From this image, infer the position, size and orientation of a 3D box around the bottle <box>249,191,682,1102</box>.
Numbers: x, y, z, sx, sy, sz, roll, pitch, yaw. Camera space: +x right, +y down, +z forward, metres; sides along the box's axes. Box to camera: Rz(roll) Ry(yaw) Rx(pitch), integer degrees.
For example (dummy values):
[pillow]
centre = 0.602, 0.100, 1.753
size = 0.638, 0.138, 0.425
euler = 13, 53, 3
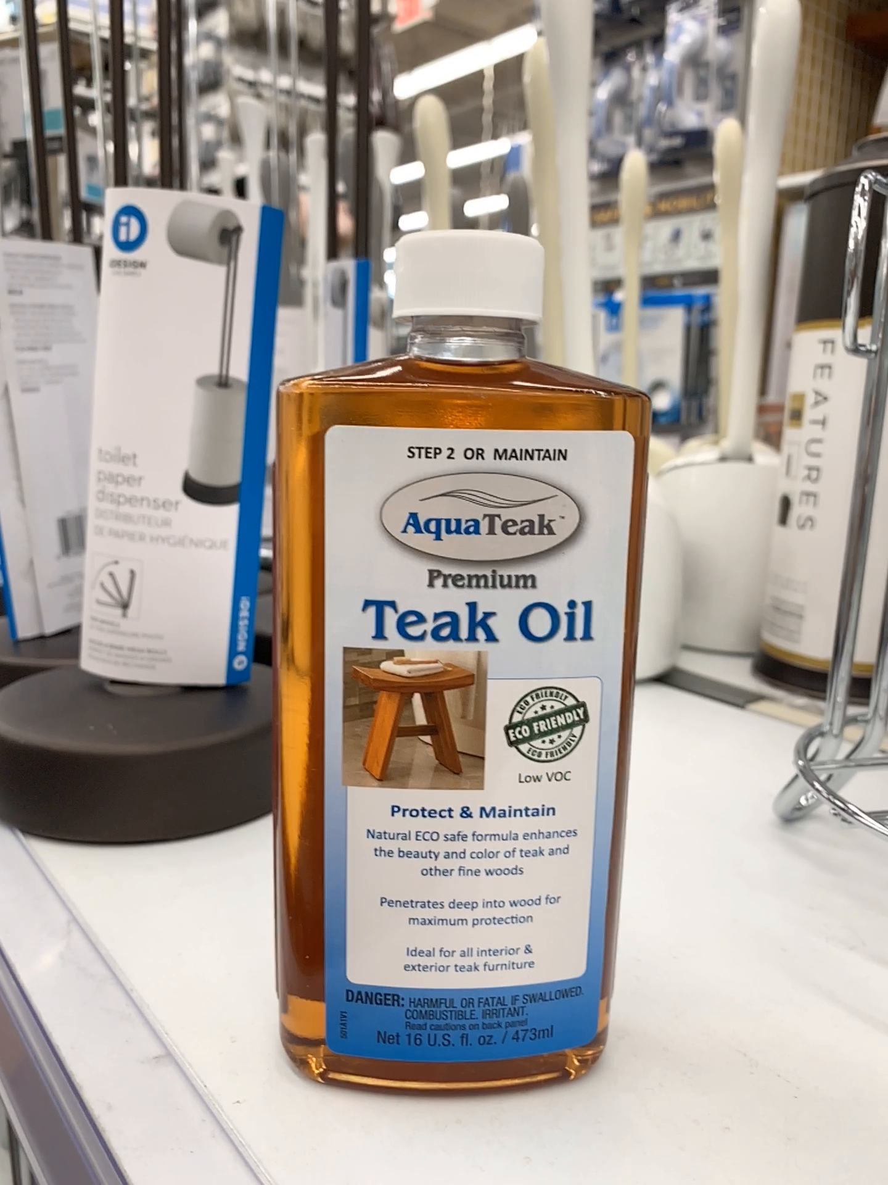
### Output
[bottle]
centre = 0.001, 0.017, 0.231
size = 0.088, 0.207, 0.046
euler = 0, 11, -5
